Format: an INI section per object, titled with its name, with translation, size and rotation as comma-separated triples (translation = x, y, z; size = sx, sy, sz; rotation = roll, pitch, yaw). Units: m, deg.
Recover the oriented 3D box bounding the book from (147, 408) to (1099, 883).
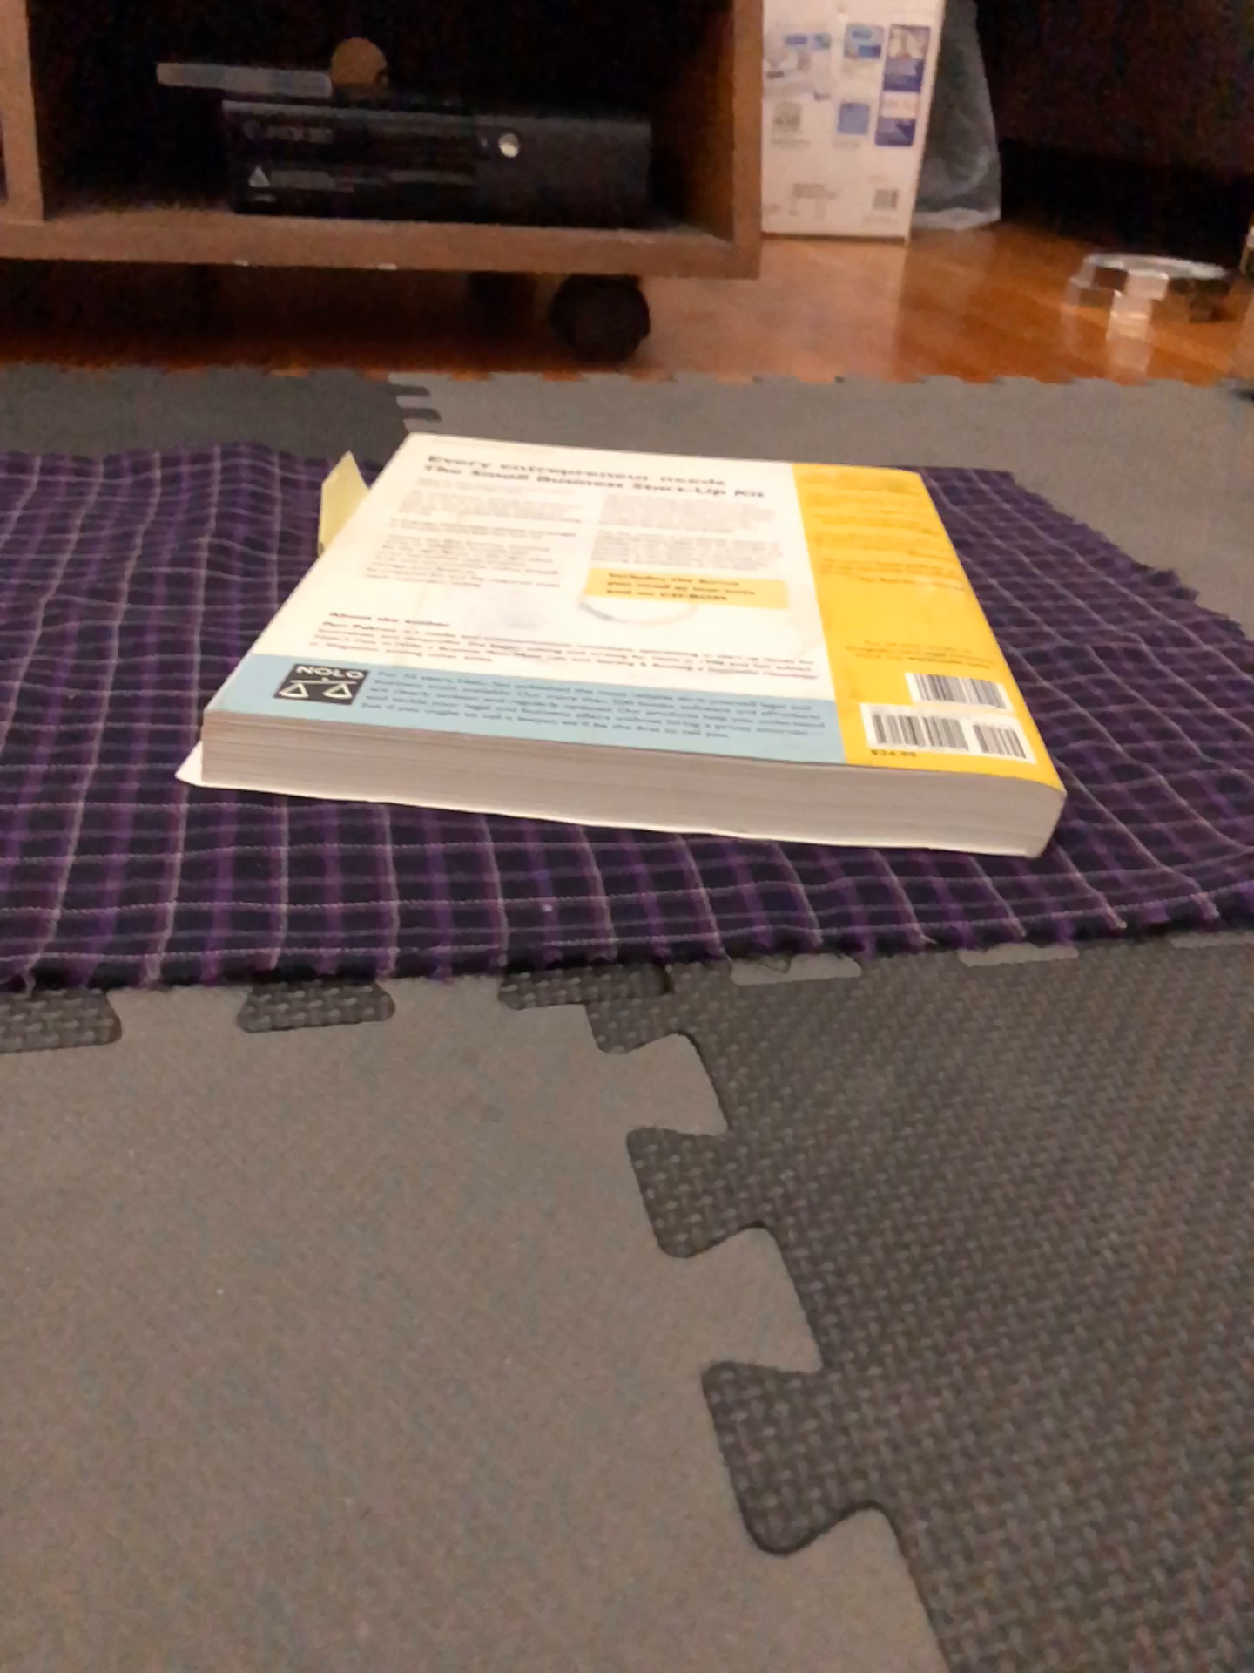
[book]
translation = 0.006, -0.088, 0.477
size = 0.230, 0.030, 0.312
rotation = 5, 29, 1
